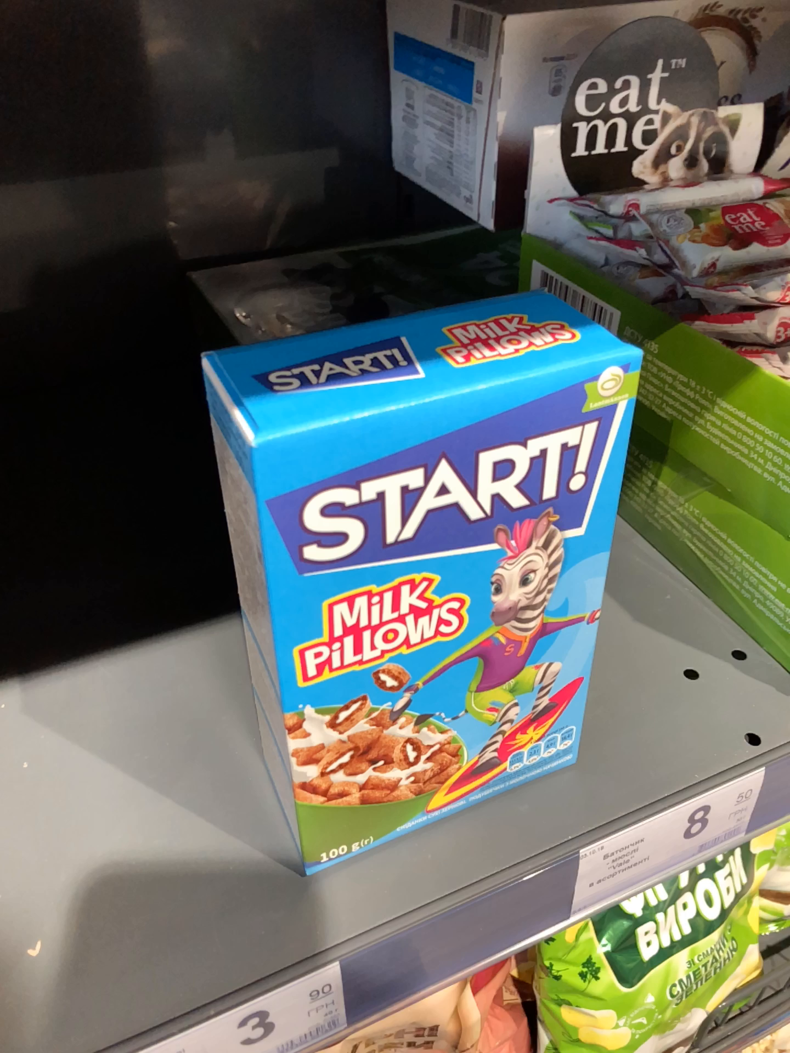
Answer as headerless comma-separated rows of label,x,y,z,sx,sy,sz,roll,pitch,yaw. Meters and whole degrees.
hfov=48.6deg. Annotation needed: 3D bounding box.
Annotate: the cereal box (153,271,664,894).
cereal box,0.003,0.020,0.287,0.120,0.169,0.070,-15,38,-19
